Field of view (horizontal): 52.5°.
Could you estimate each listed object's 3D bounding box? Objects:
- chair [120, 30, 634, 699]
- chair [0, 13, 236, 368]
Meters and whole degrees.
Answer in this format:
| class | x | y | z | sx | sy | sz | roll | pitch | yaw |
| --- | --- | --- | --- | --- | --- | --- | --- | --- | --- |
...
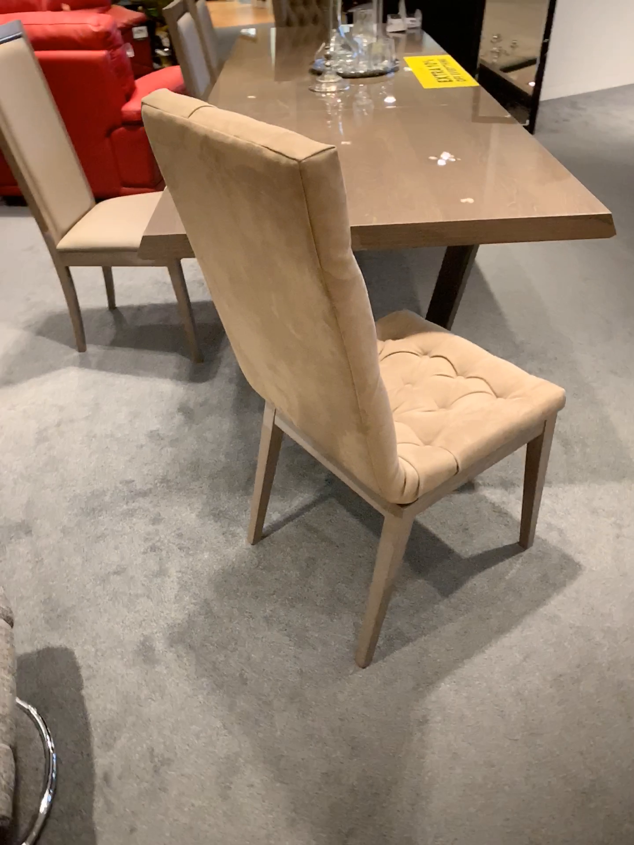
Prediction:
| class | x | y | z | sx | sy | sz | roll | pitch | yaw |
| --- | --- | --- | --- | --- | --- | --- | --- | --- | --- |
| chair | 0.137 | -0.118 | 1.261 | 0.638 | 1.021 | 0.526 | -28 | 44 | -29 |
| chair | -0.722 | -0.786 | 2.241 | 0.636 | 1.021 | 0.528 | 5 | 38 | 10 |
